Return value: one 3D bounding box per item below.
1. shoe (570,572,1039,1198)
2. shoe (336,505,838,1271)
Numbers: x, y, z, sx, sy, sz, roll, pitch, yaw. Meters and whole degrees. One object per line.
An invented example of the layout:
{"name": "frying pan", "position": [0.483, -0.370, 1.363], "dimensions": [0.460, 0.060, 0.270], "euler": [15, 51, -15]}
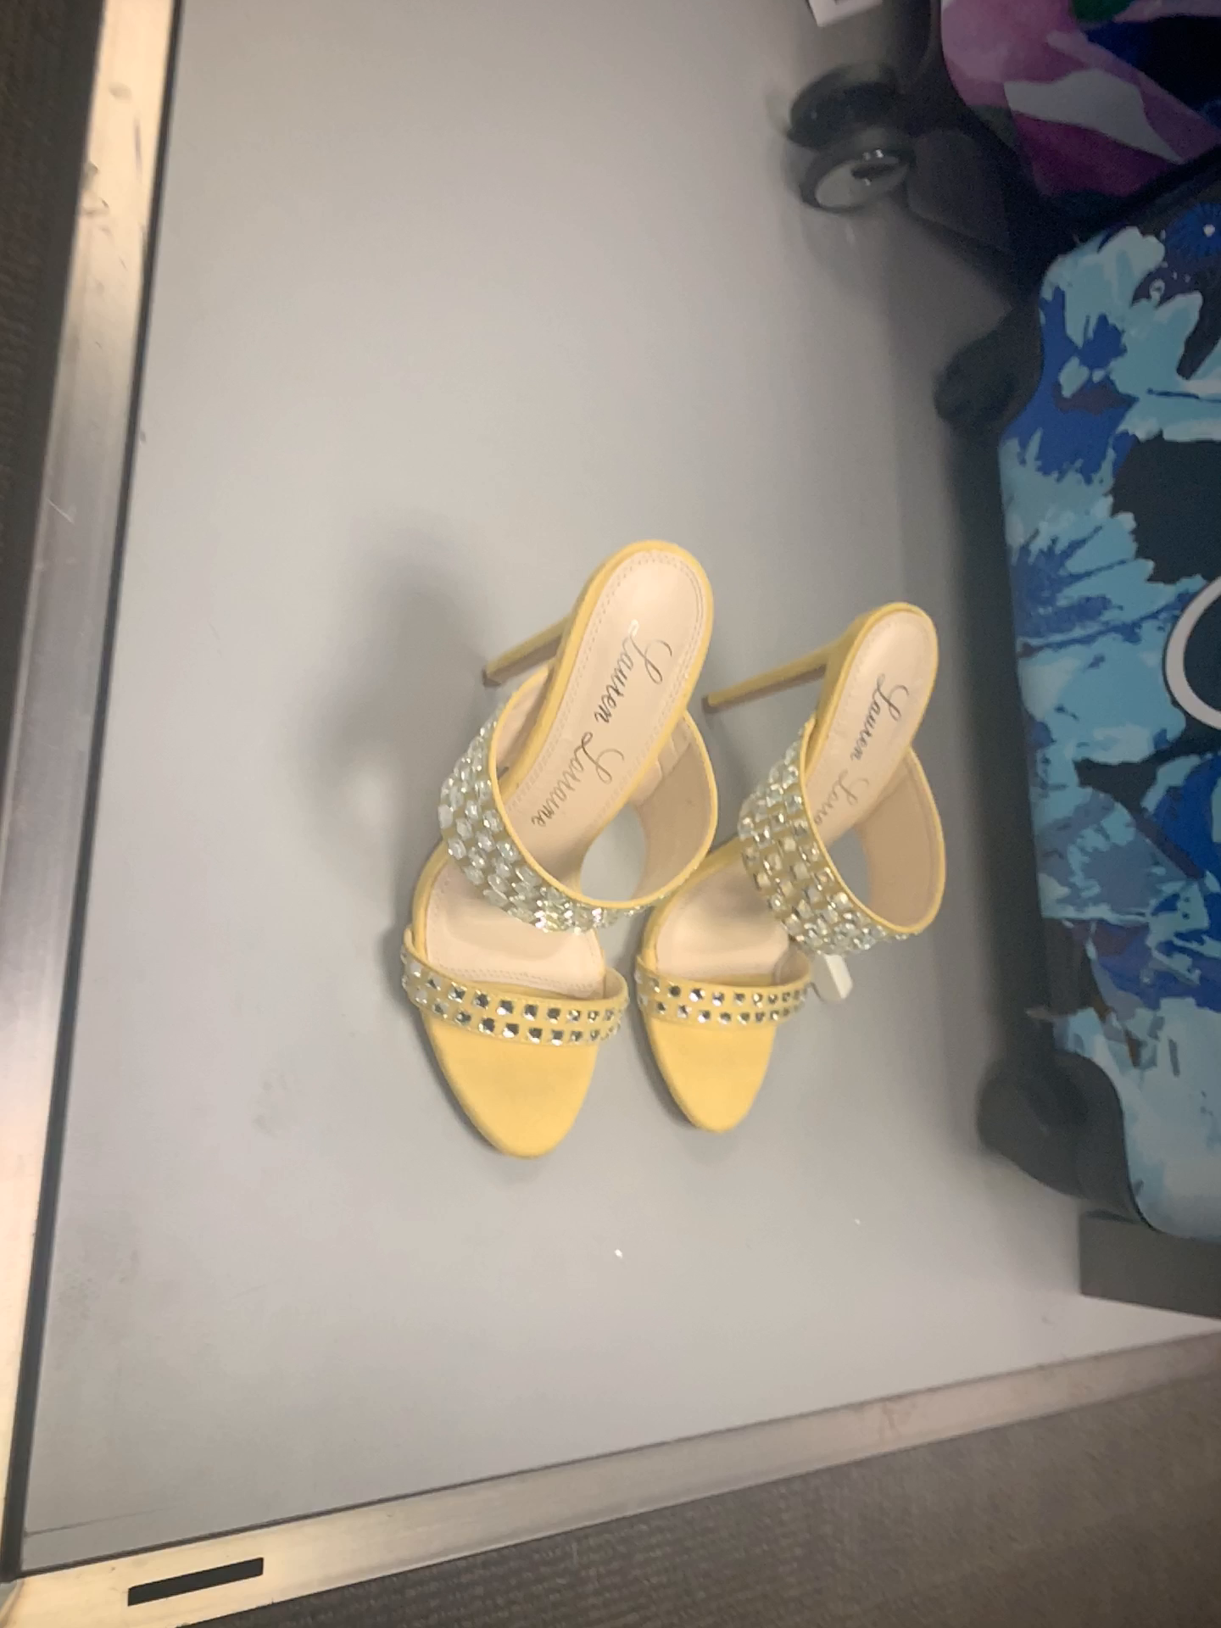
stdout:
{"name": "shoe", "position": [0.074, 0.031, 0.474], "dimensions": [0.111, 0.116, 0.199], "euler": [12, 80, -36]}
{"name": "shoe", "position": [-0.008, 0.023, 0.412], "dimensions": [0.116, 0.115, 0.202], "euler": [4, 85, -38]}
